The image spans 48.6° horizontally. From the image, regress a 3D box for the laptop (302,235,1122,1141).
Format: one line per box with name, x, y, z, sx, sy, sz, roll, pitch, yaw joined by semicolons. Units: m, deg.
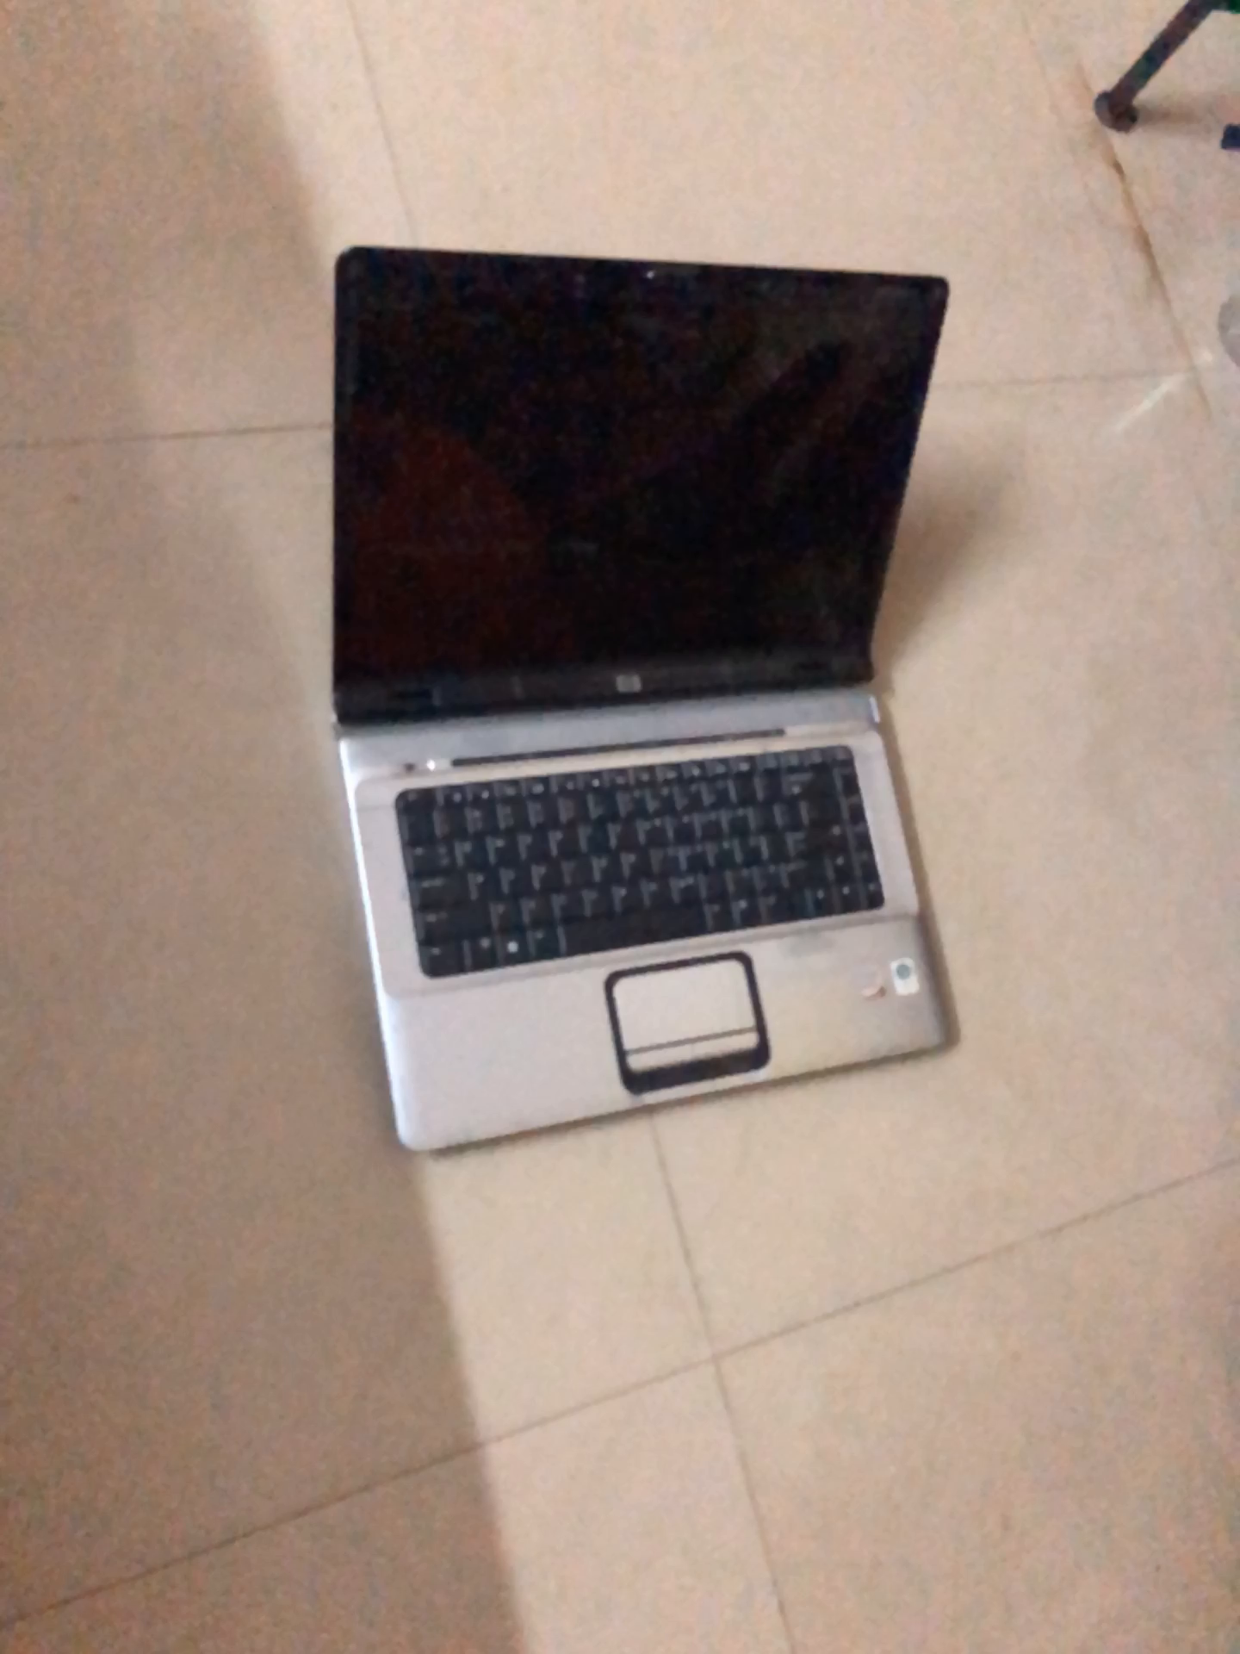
laptop;0.036;-0.073;0.745;0.339;0.167;0.409;-6;79;-22
